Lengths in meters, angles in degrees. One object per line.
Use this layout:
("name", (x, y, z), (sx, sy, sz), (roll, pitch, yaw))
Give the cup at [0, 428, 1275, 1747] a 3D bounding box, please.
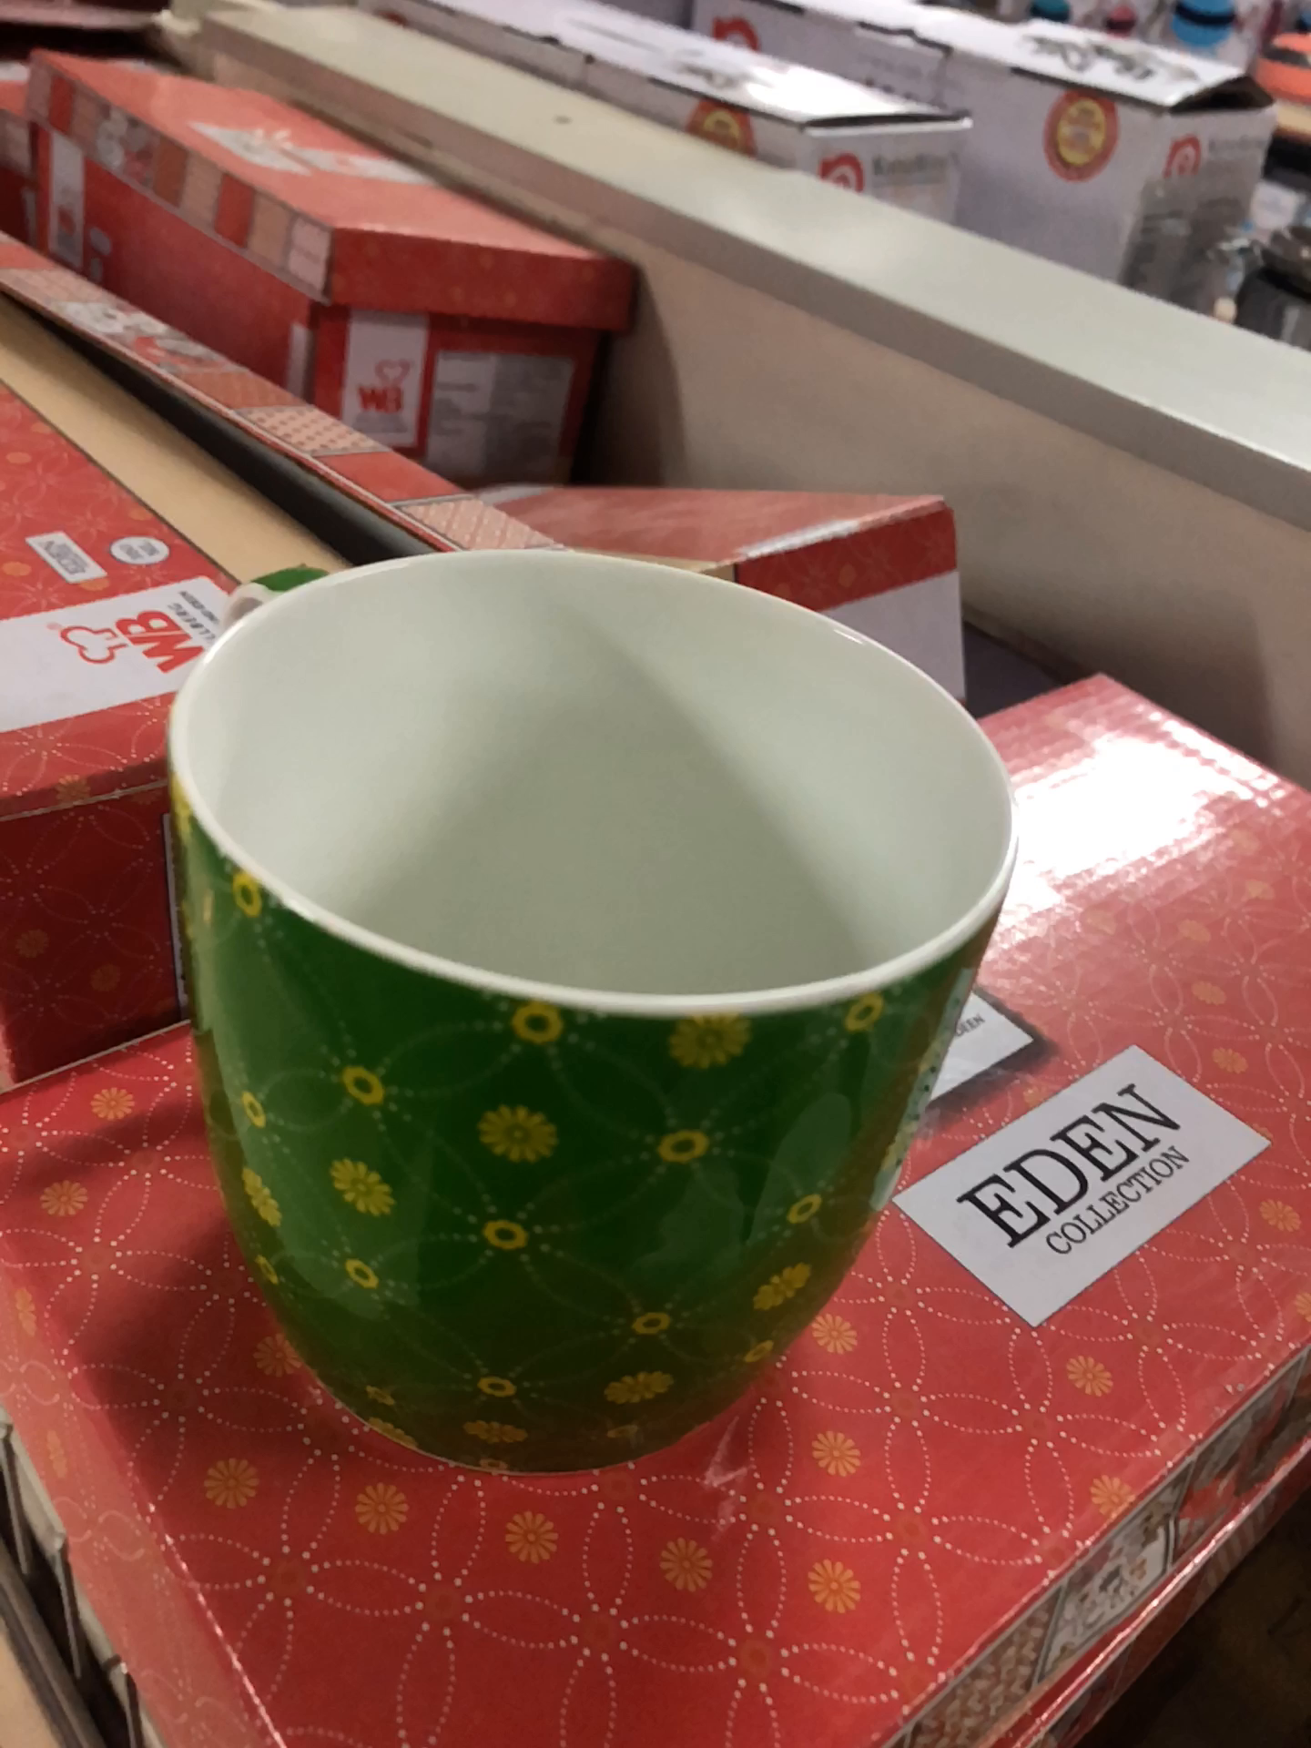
("cup", (-0.016, 0.011, 0.178), (0.090, 0.079, 0.121), (-21, 45, -34))
